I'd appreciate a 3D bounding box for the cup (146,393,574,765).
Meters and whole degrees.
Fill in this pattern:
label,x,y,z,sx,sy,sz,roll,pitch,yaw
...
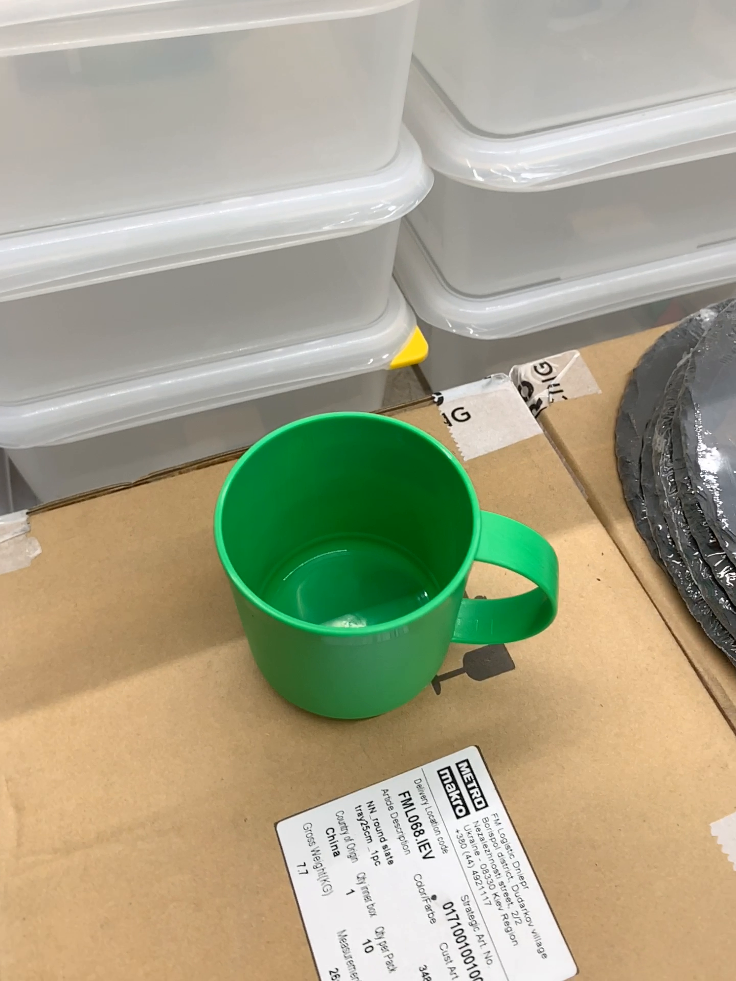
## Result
label,x,y,z,sx,sy,sz,roll,pitch,yaw
cup,0.002,0.028,0.236,0.105,0.069,0.076,8,55,6
